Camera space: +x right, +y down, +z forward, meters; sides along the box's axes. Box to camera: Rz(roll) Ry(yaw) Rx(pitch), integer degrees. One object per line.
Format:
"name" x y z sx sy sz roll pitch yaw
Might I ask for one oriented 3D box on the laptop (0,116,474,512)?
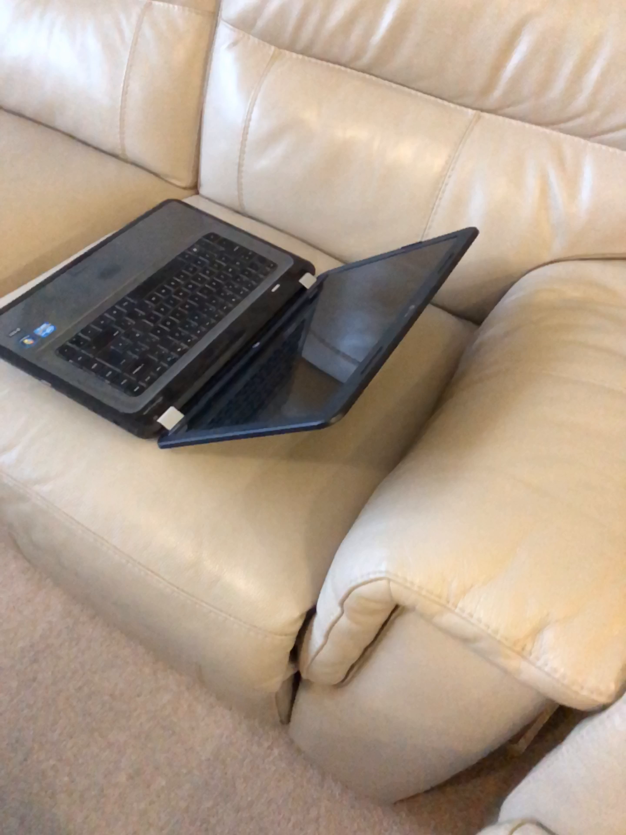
"laptop" -0.091 -0.149 0.766 0.424 0.114 0.359 25 51 14
